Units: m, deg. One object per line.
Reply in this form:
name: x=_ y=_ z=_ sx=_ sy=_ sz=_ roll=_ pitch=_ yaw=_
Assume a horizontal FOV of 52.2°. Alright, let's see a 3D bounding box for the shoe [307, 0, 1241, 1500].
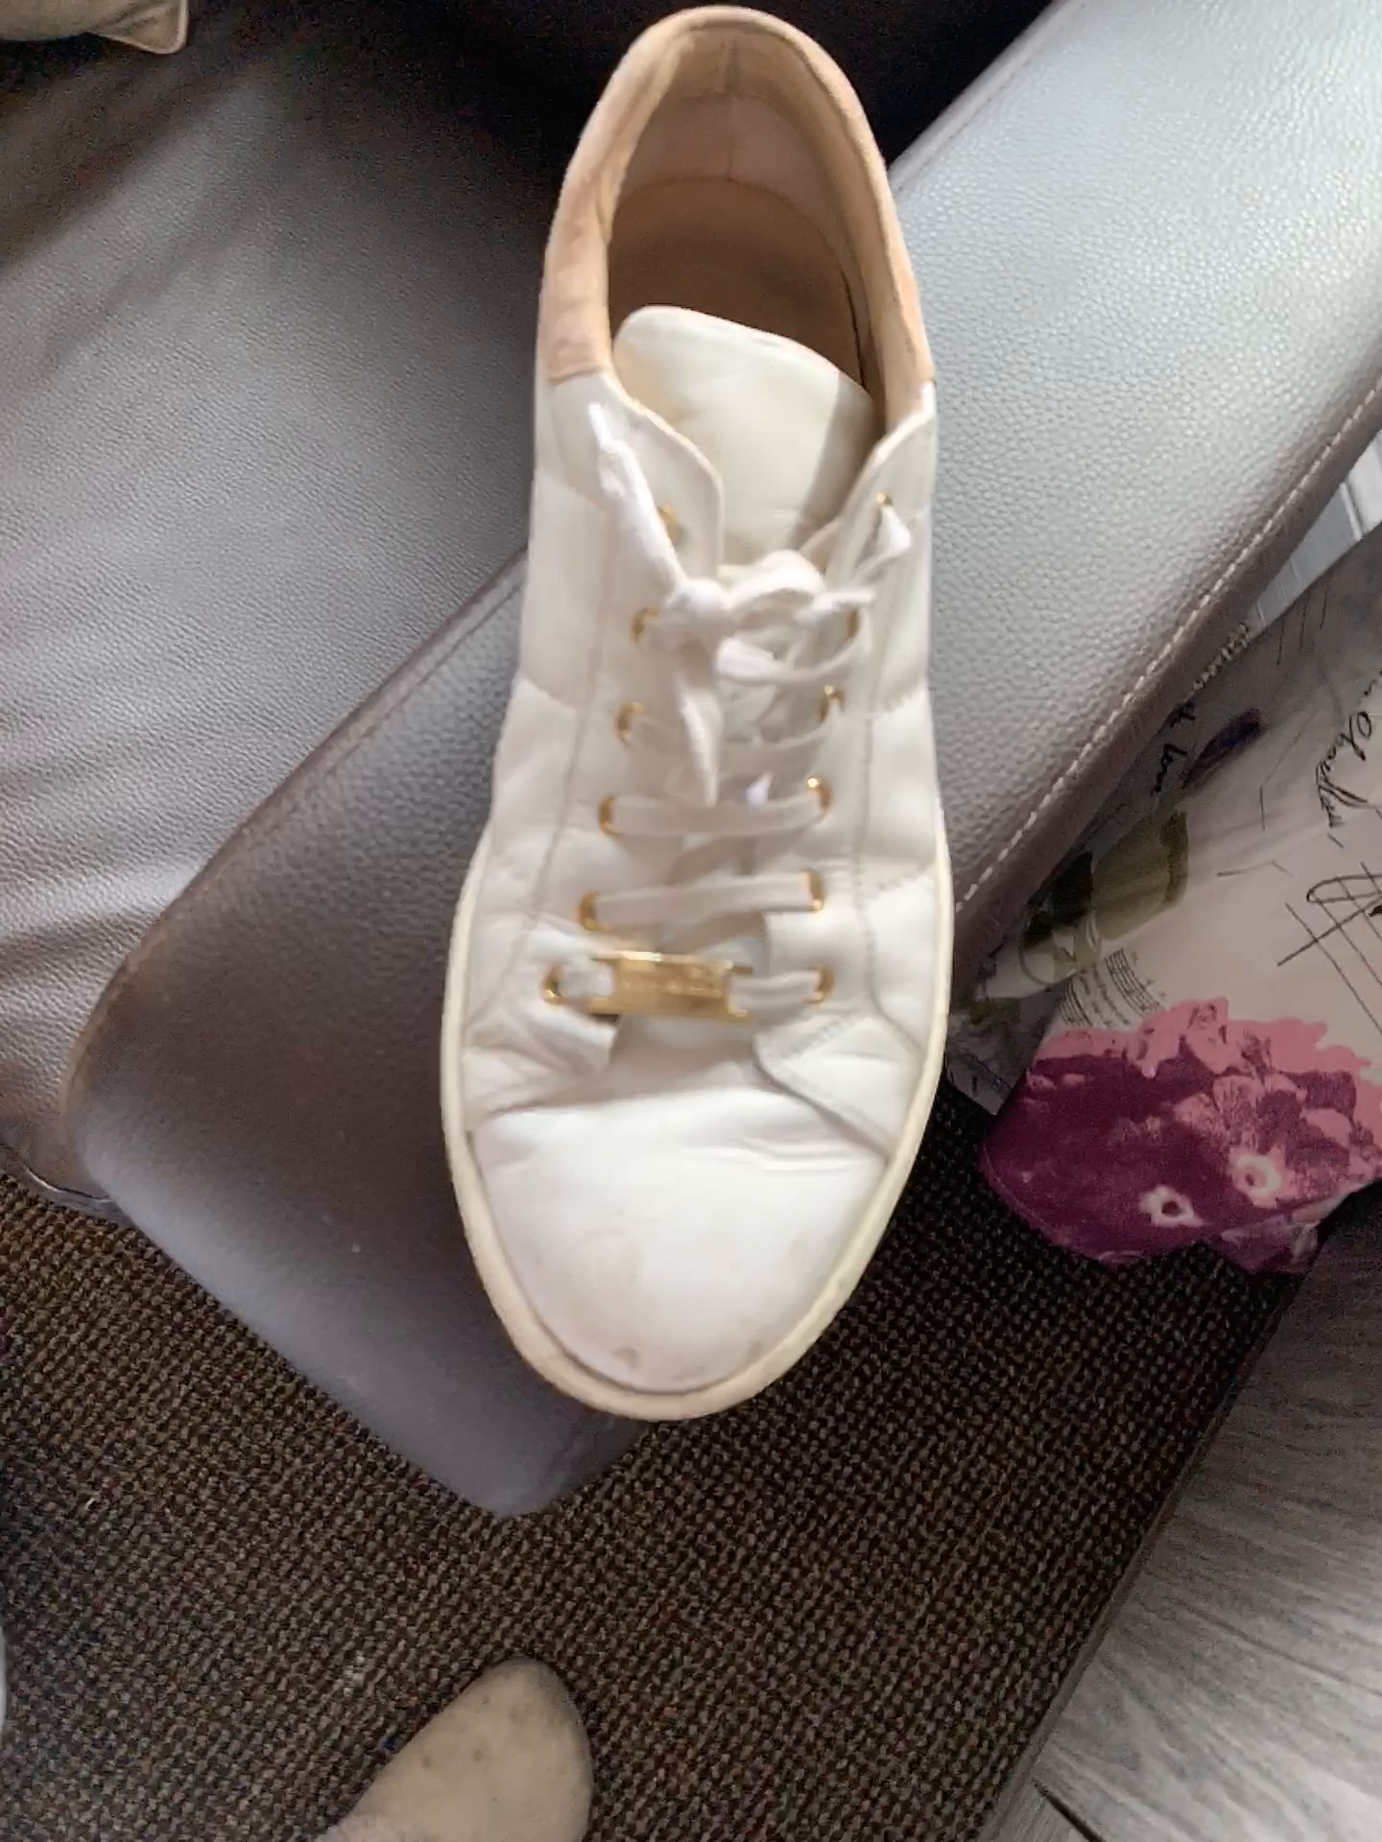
shoe: x=0.010 y=-0.047 z=0.257 sx=0.110 sy=0.110 sz=0.271 roll=3 pitch=73 yaw=-4
